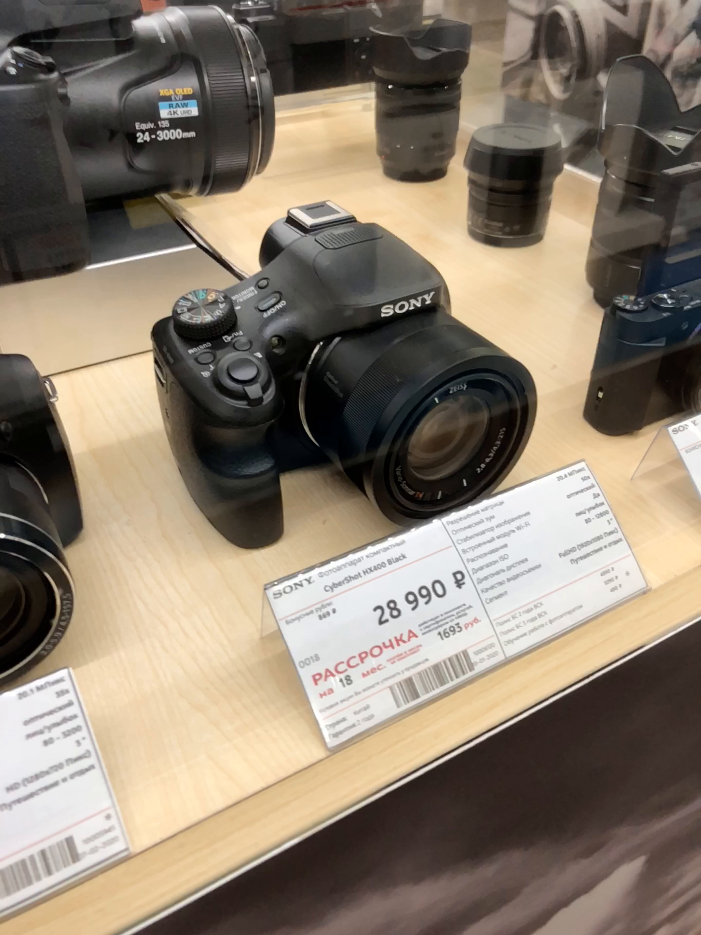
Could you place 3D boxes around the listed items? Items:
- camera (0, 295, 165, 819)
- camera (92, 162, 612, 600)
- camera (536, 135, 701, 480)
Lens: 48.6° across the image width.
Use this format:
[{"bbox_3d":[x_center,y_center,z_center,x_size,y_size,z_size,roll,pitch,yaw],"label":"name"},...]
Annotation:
[{"bbox_3d":[-0.135,0.015,0.231,0.122,0.073,0.097,-20,42,-23],"label":"camera"},{"bbox_3d":[-0.002,-0.042,0.282,0.137,0.086,0.104,-20,42,-23],"label":"camera"},{"bbox_3d":[0.158,-0.074,0.348,0.125,0.113,0.056,-20,42,-23],"label":"camera"}]
